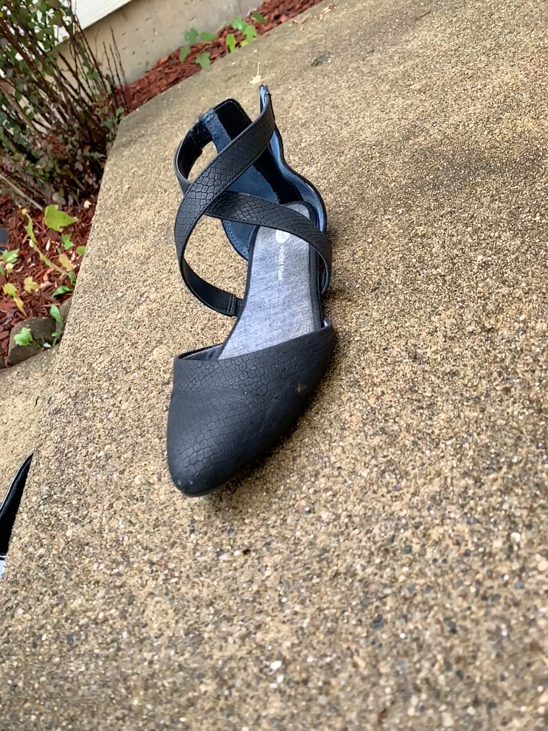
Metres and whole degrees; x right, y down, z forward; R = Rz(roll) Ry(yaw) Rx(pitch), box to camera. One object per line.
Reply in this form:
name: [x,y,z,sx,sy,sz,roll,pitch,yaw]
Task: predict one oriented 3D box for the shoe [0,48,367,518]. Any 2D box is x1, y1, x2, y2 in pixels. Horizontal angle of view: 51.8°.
shoe: [-0.023,-0.061,0.326,0.097,0.112,0.264,-10,42,26]
